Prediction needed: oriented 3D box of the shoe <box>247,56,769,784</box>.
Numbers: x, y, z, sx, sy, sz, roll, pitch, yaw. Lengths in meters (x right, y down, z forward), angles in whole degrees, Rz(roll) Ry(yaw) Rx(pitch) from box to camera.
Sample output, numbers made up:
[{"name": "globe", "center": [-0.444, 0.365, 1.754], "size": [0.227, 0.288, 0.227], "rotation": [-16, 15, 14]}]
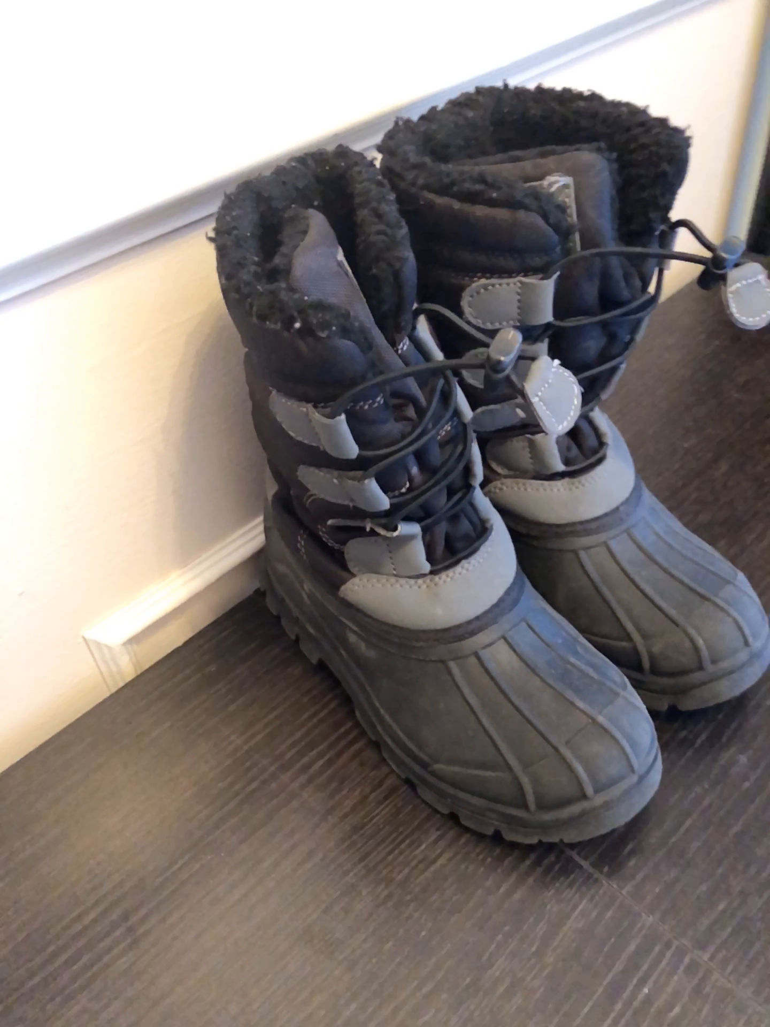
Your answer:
[{"name": "shoe", "center": [0.066, -0.047, 0.352], "size": [0.100, 0.209, 0.221], "rotation": [-34, 49, -28]}]

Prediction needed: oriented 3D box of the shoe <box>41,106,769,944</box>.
[{"name": "shoe", "center": [0.005, -0.005, 0.311], "size": [0.100, 0.209, 0.221], "rotation": [-34, 49, -28]}]
